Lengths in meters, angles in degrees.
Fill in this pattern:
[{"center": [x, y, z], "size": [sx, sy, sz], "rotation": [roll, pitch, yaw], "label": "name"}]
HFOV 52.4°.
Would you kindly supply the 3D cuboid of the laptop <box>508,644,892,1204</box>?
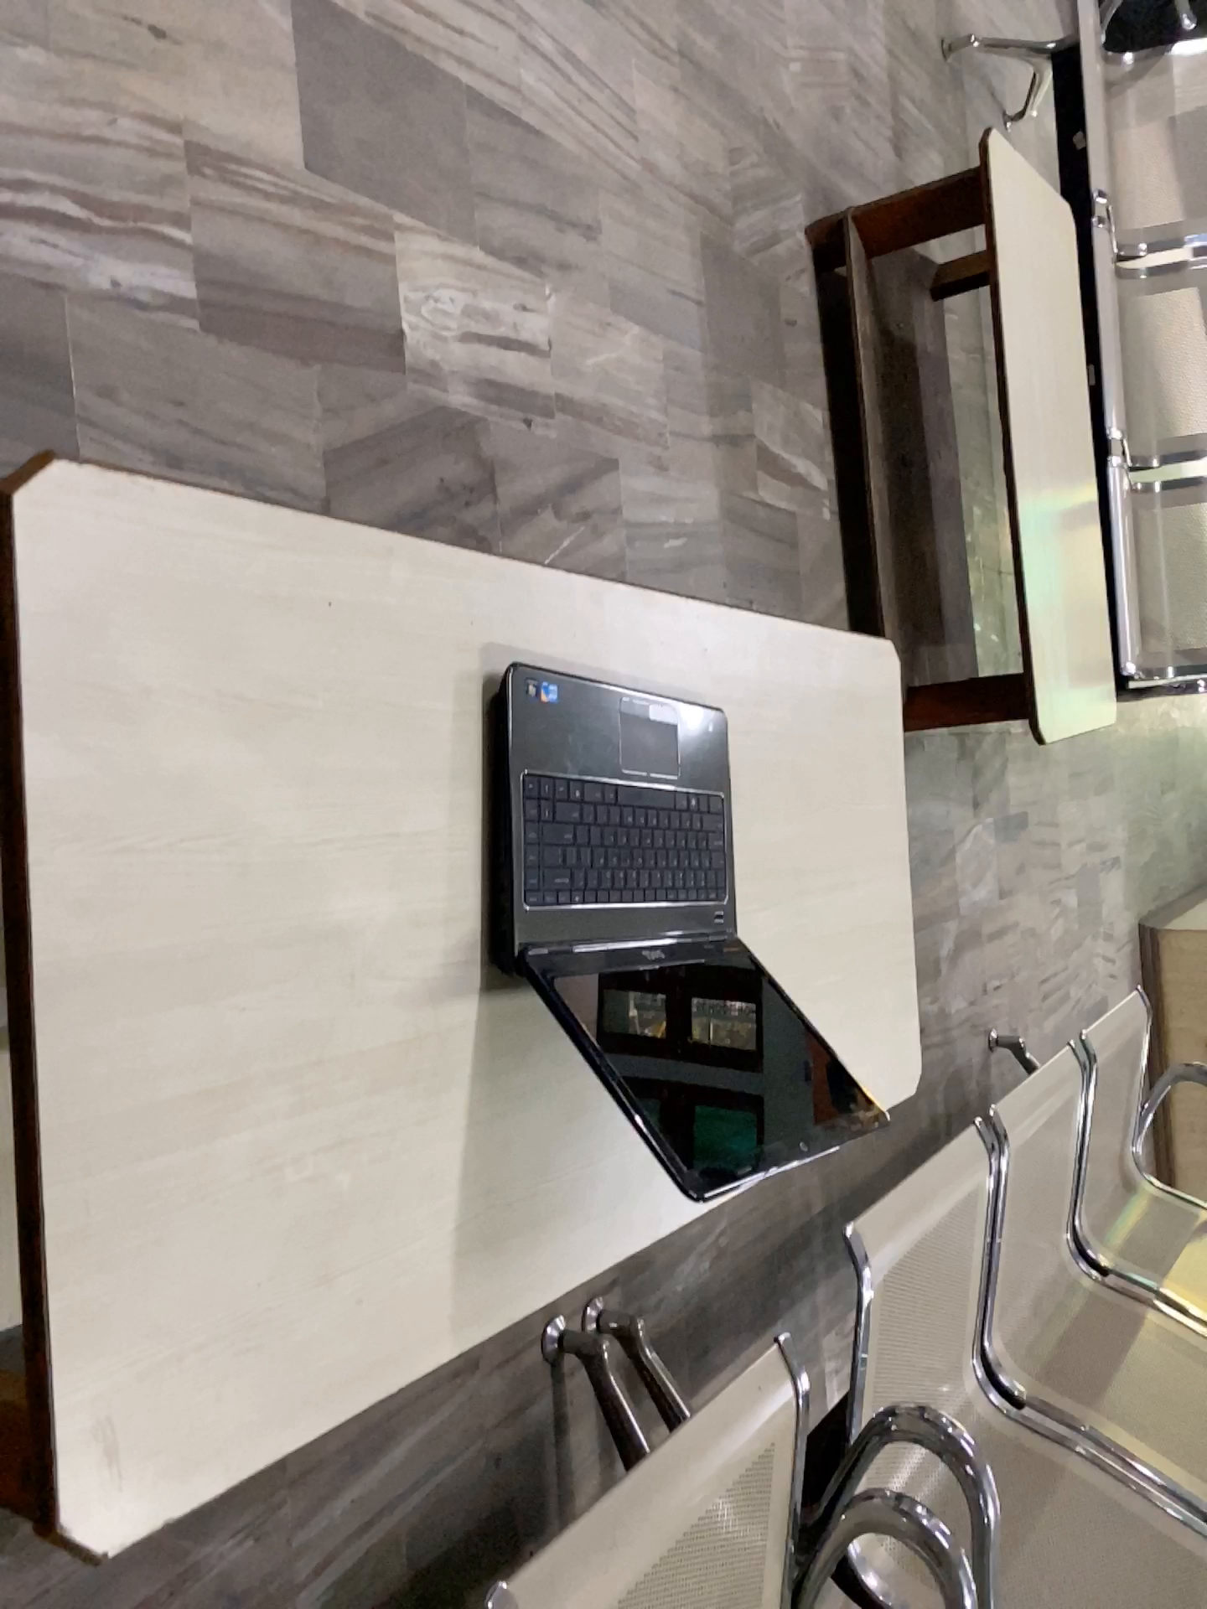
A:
[{"center": [0.091, 0.090, 1.006], "size": [0.331, 0.152, 0.378], "rotation": [5, 83, -53], "label": "laptop"}]
